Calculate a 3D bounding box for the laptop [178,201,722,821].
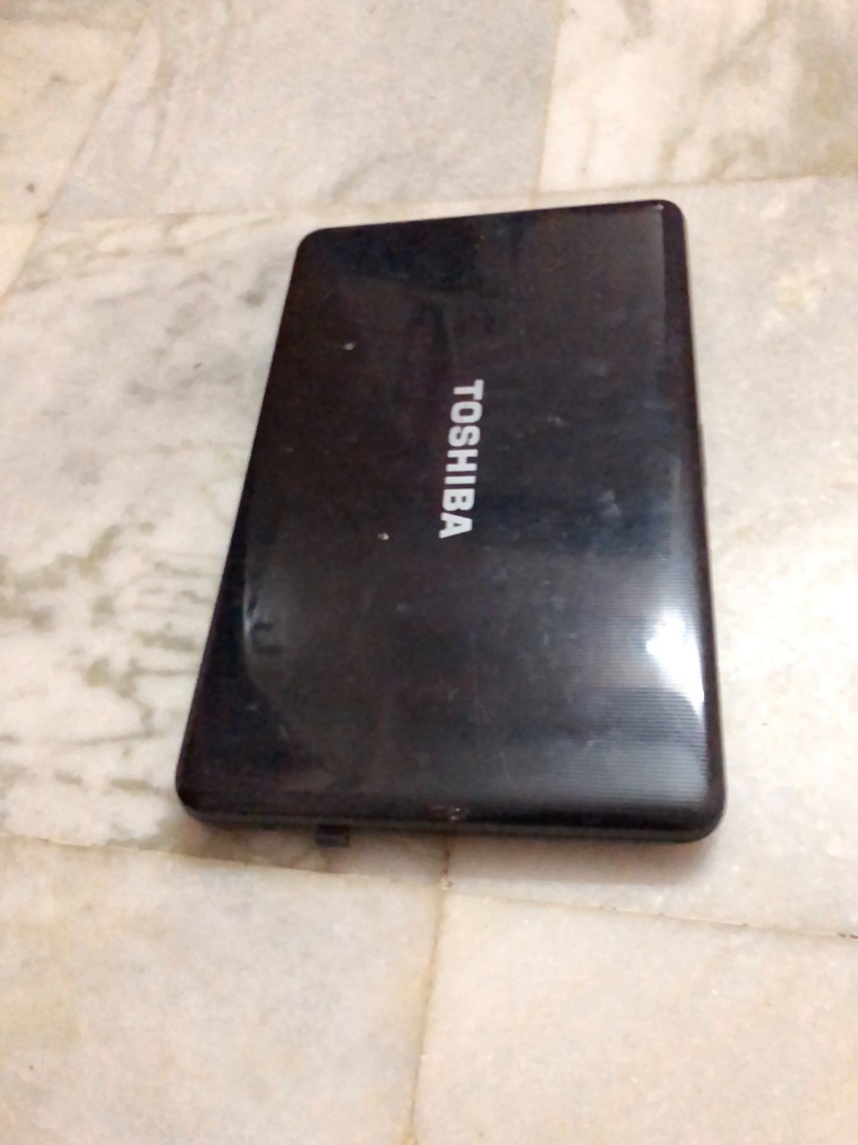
[{"bbox_3d":[0.019,-0.057,0.479,0.224,0.004,0.360,0,59,11],"label":"laptop"}]
